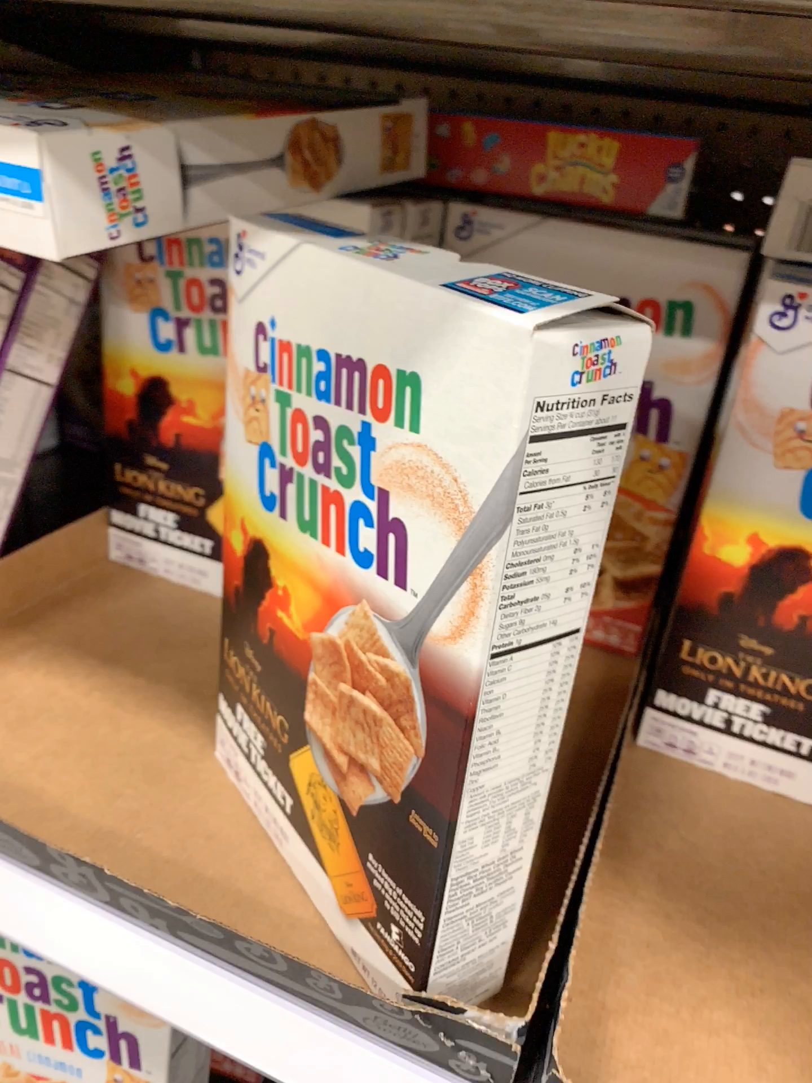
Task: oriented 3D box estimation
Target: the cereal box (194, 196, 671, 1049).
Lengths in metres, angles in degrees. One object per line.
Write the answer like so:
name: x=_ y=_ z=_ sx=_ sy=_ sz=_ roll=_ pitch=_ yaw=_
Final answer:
cereal box: x=-0.019 y=0.022 z=0.344 sx=0.060 sy=0.279 sz=0.191 roll=-12 pitch=31 yaw=-33
